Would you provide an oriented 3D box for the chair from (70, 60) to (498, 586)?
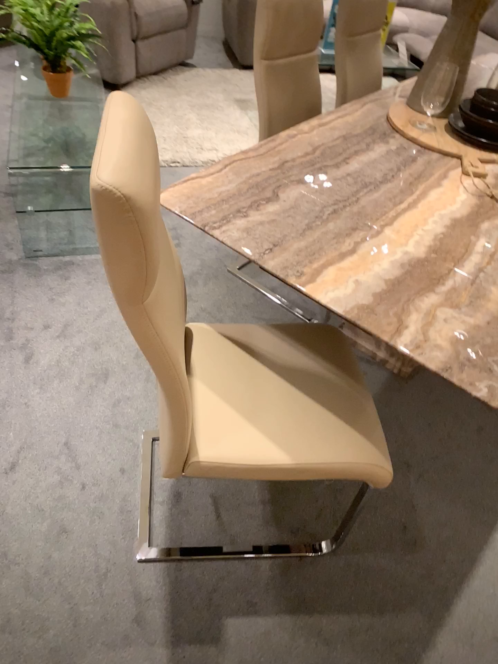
[{"bbox_3d":[0.008,0.063,1.090,0.583,0.982,0.532,1,44,-10],"label":"chair"}]
